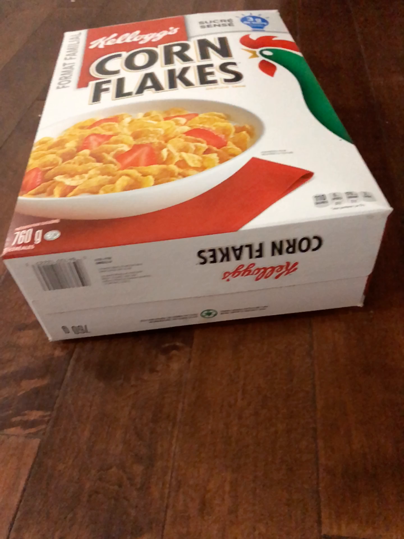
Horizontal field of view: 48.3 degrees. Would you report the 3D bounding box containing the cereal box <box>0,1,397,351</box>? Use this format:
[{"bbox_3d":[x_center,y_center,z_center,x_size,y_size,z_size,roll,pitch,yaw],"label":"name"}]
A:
[{"bbox_3d":[-0.025,-0.124,0.430,0.260,0.090,0.381,-6,49,0],"label":"cereal box"}]
